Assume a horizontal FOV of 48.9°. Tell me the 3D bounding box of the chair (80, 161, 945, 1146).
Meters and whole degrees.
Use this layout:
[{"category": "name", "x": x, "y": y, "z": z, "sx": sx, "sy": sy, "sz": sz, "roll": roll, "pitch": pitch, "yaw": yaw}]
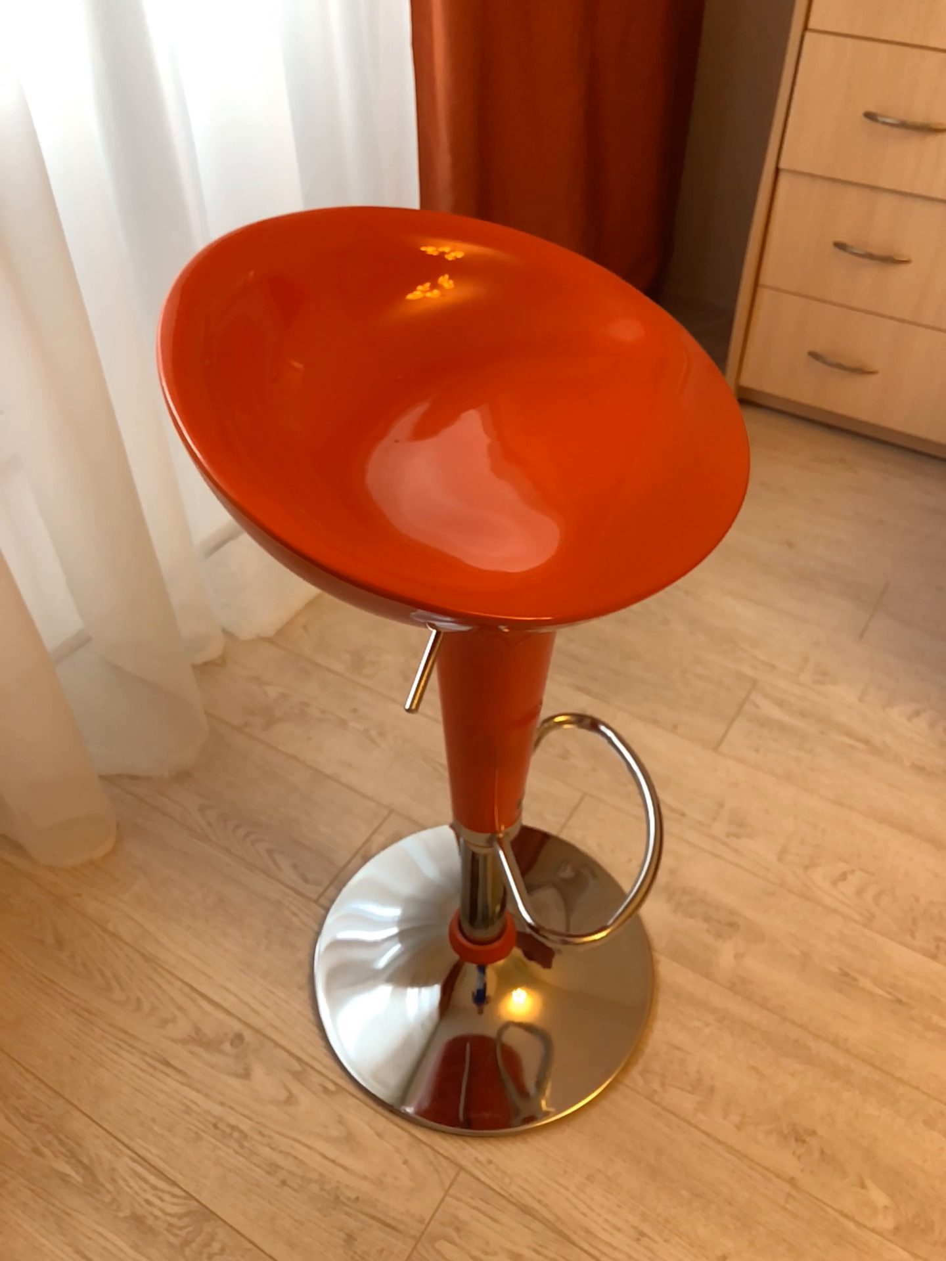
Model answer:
[{"category": "chair", "x": 0.028, "y": 0.060, "z": 0.862, "sx": 0.420, "sy": 0.725, "sz": 0.413, "roll": -1, "pitch": 42, "yaw": -1}]
